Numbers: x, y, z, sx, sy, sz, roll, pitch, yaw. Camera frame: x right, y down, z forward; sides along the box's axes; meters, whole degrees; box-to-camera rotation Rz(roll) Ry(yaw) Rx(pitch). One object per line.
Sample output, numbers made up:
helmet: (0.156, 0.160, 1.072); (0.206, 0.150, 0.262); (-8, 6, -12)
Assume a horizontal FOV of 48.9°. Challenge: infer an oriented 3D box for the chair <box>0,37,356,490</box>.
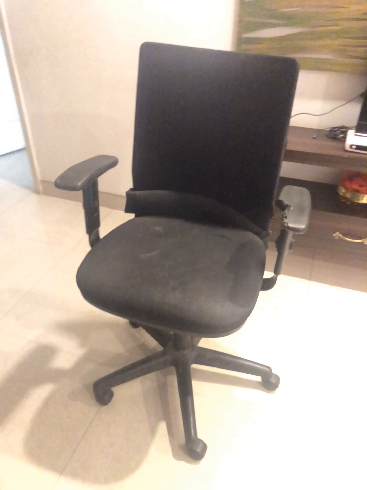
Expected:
chair: (0.007, 0.015, 1.223); (0.710, 1.042, 0.705); (10, 36, 14)
